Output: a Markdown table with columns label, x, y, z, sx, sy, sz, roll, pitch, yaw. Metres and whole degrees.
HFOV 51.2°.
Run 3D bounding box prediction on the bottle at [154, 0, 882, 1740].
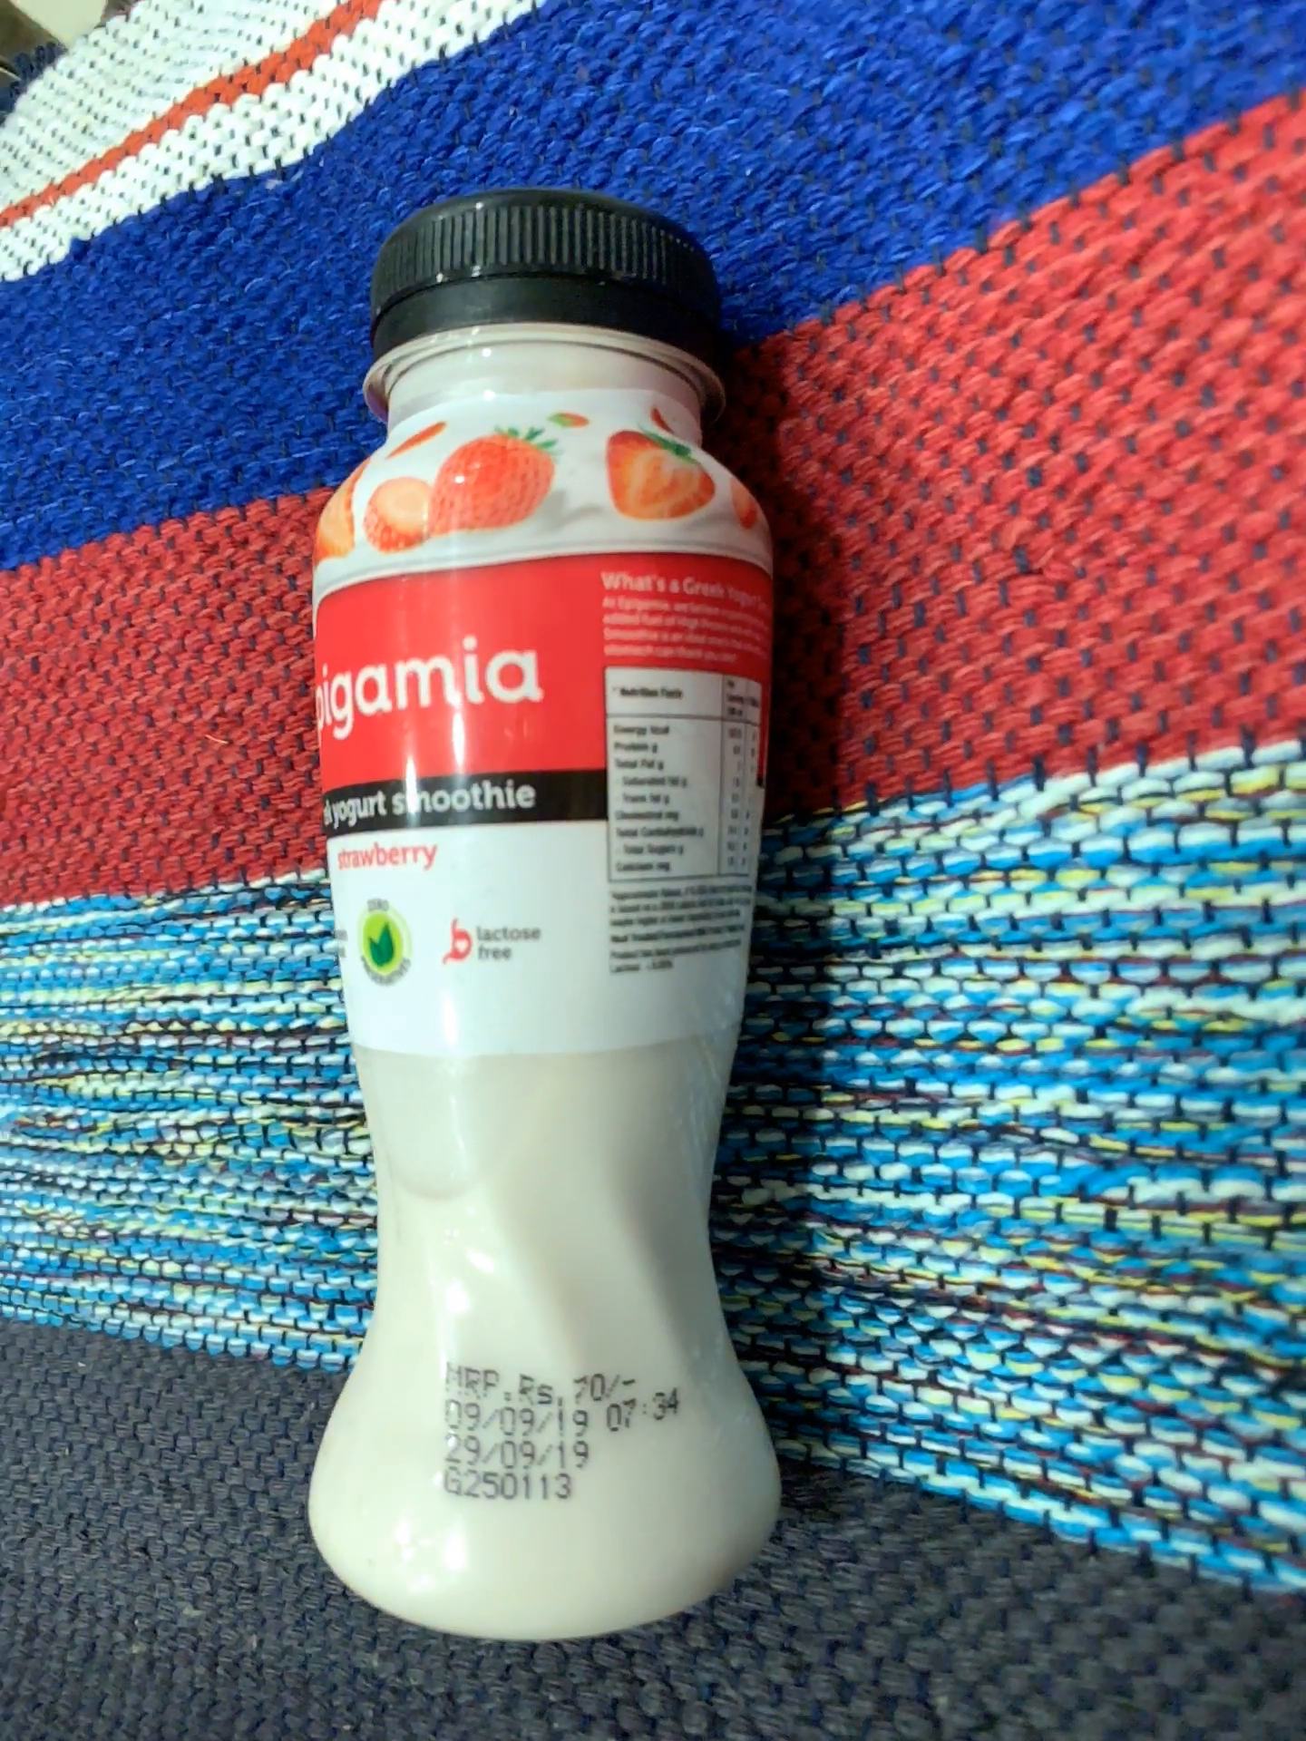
| label | x | y | z | sx | sy | sz | roll | pitch | yaw |
| --- | --- | --- | --- | --- | --- | --- | --- | --- | --- |
| bottle | -0.013 | -0.003 | 0.159 | 0.060 | 0.050 | 0.160 | -2 | 84 | 36 |
